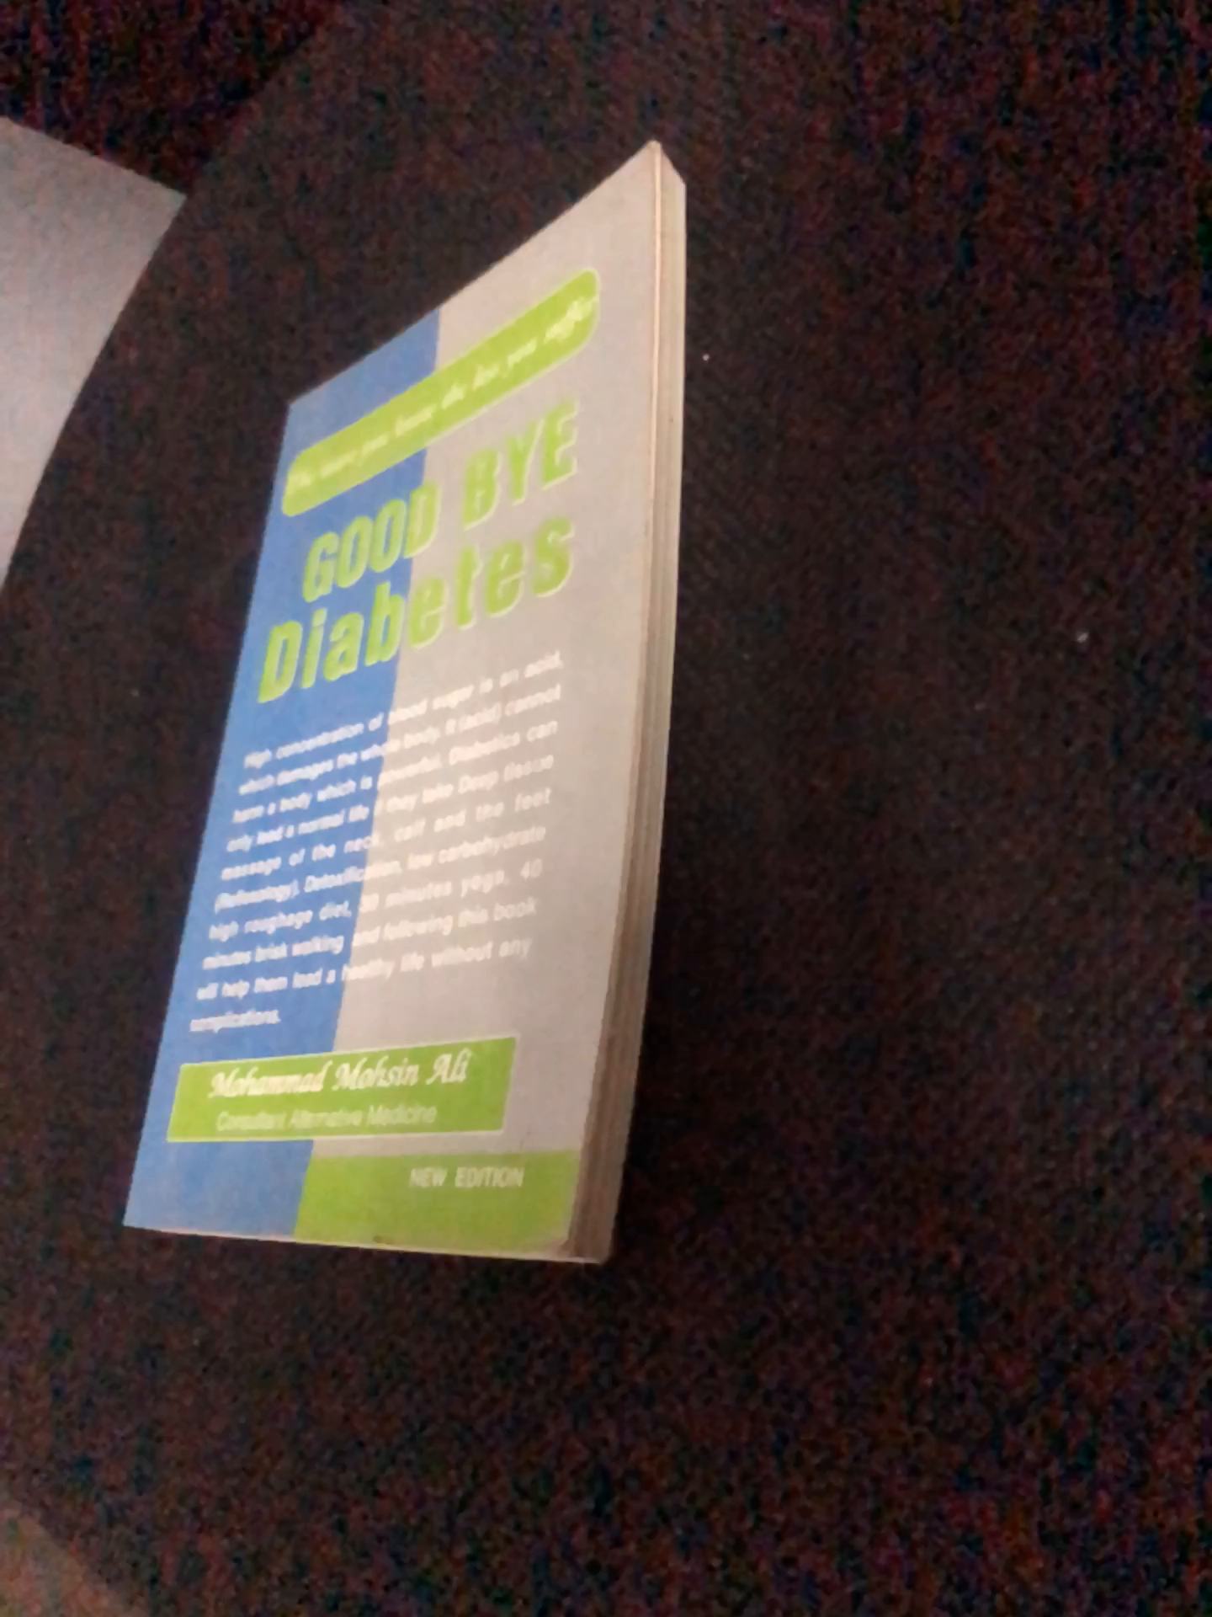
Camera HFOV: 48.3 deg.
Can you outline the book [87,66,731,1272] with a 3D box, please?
[{"bbox_3d":[-0.044,-0.026,0.293,0.150,0.020,0.230,-13,64,43],"label":"book"}]
